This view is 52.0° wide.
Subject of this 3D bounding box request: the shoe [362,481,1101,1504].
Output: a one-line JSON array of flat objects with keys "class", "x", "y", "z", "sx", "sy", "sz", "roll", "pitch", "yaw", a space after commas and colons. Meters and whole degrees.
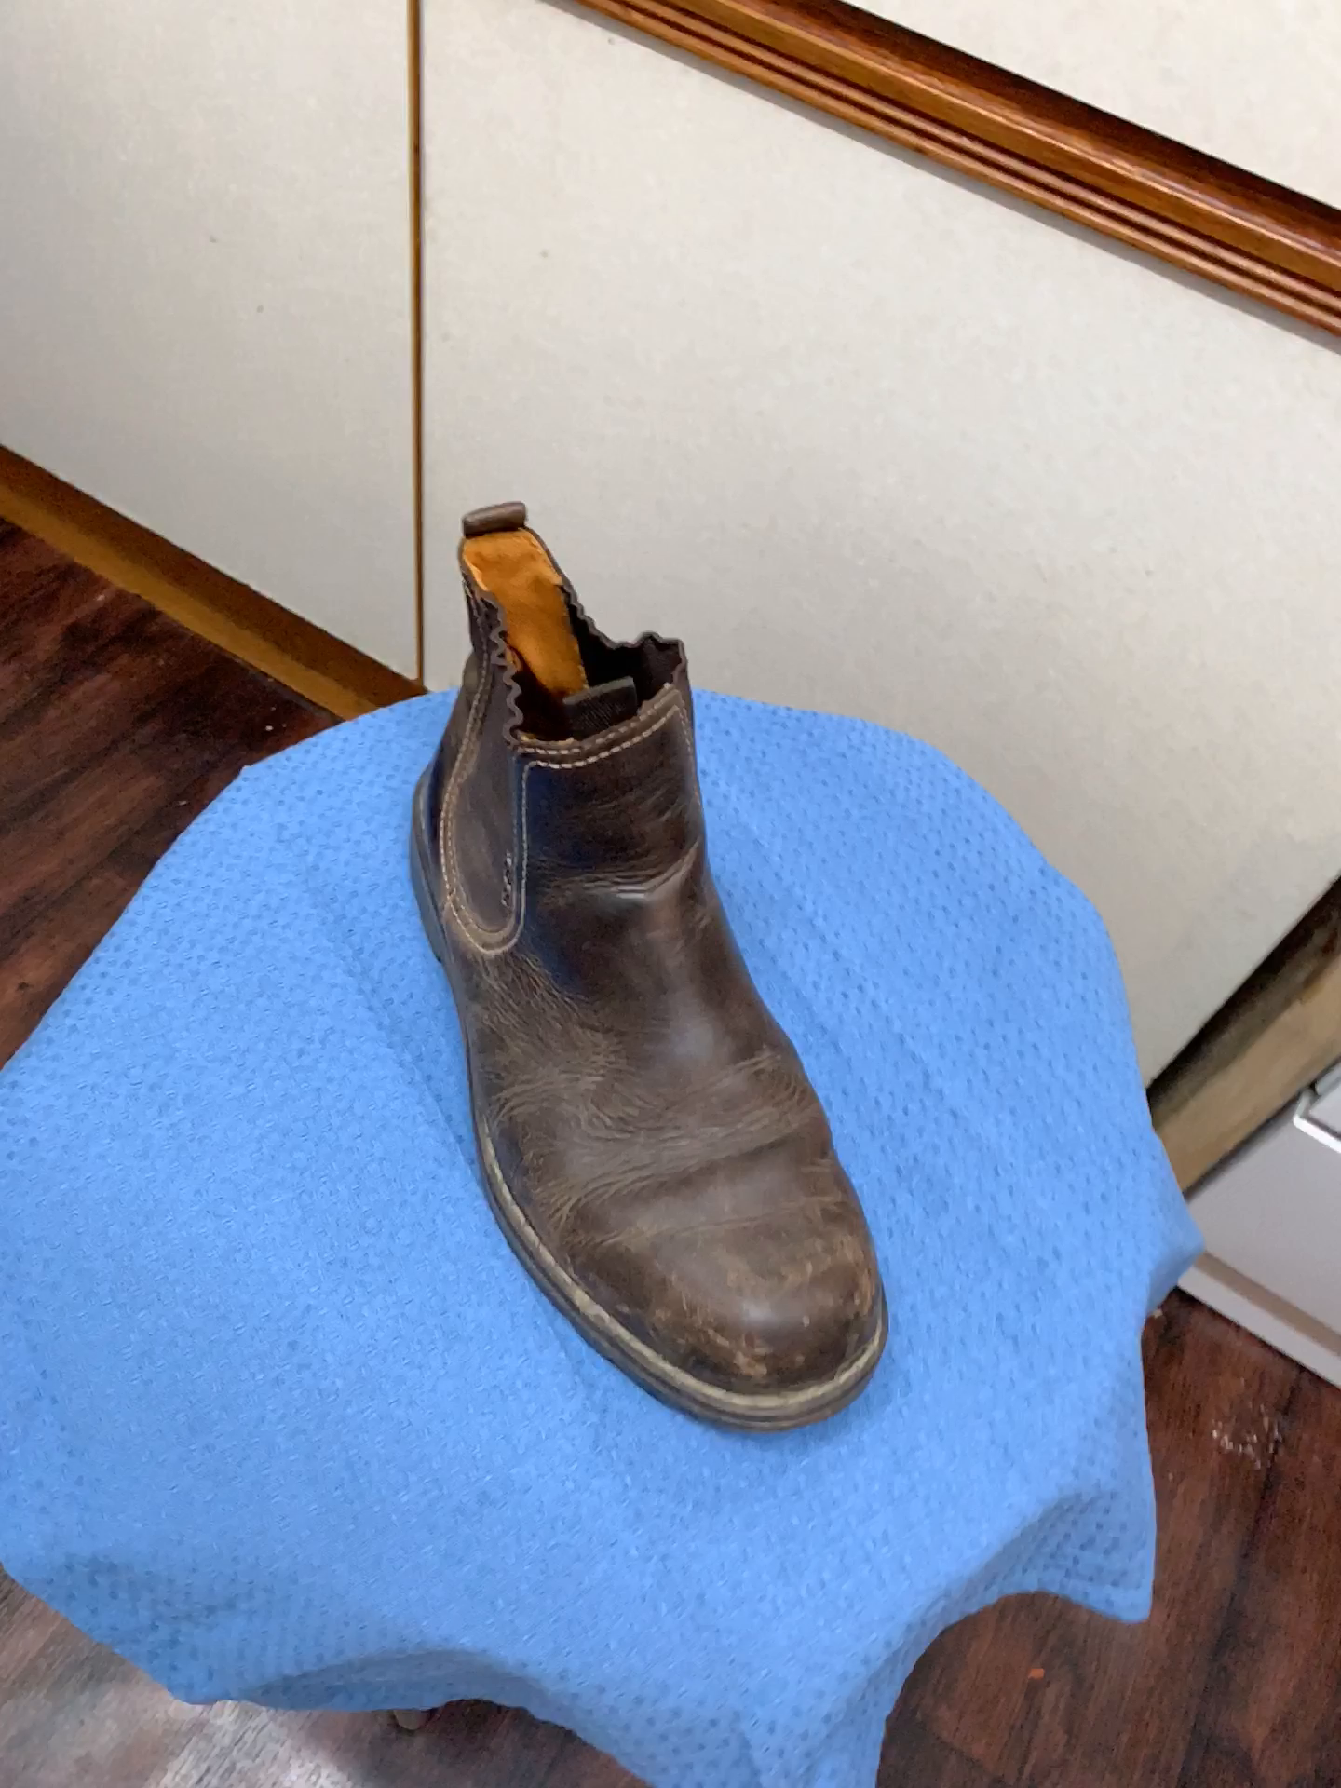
[{"class": "shoe", "x": -0.008, "y": 0.023, "z": 0.452, "sx": 0.105, "sy": 0.156, "sz": 0.280, "roll": -15, "pitch": 58, "yaw": -20}]
